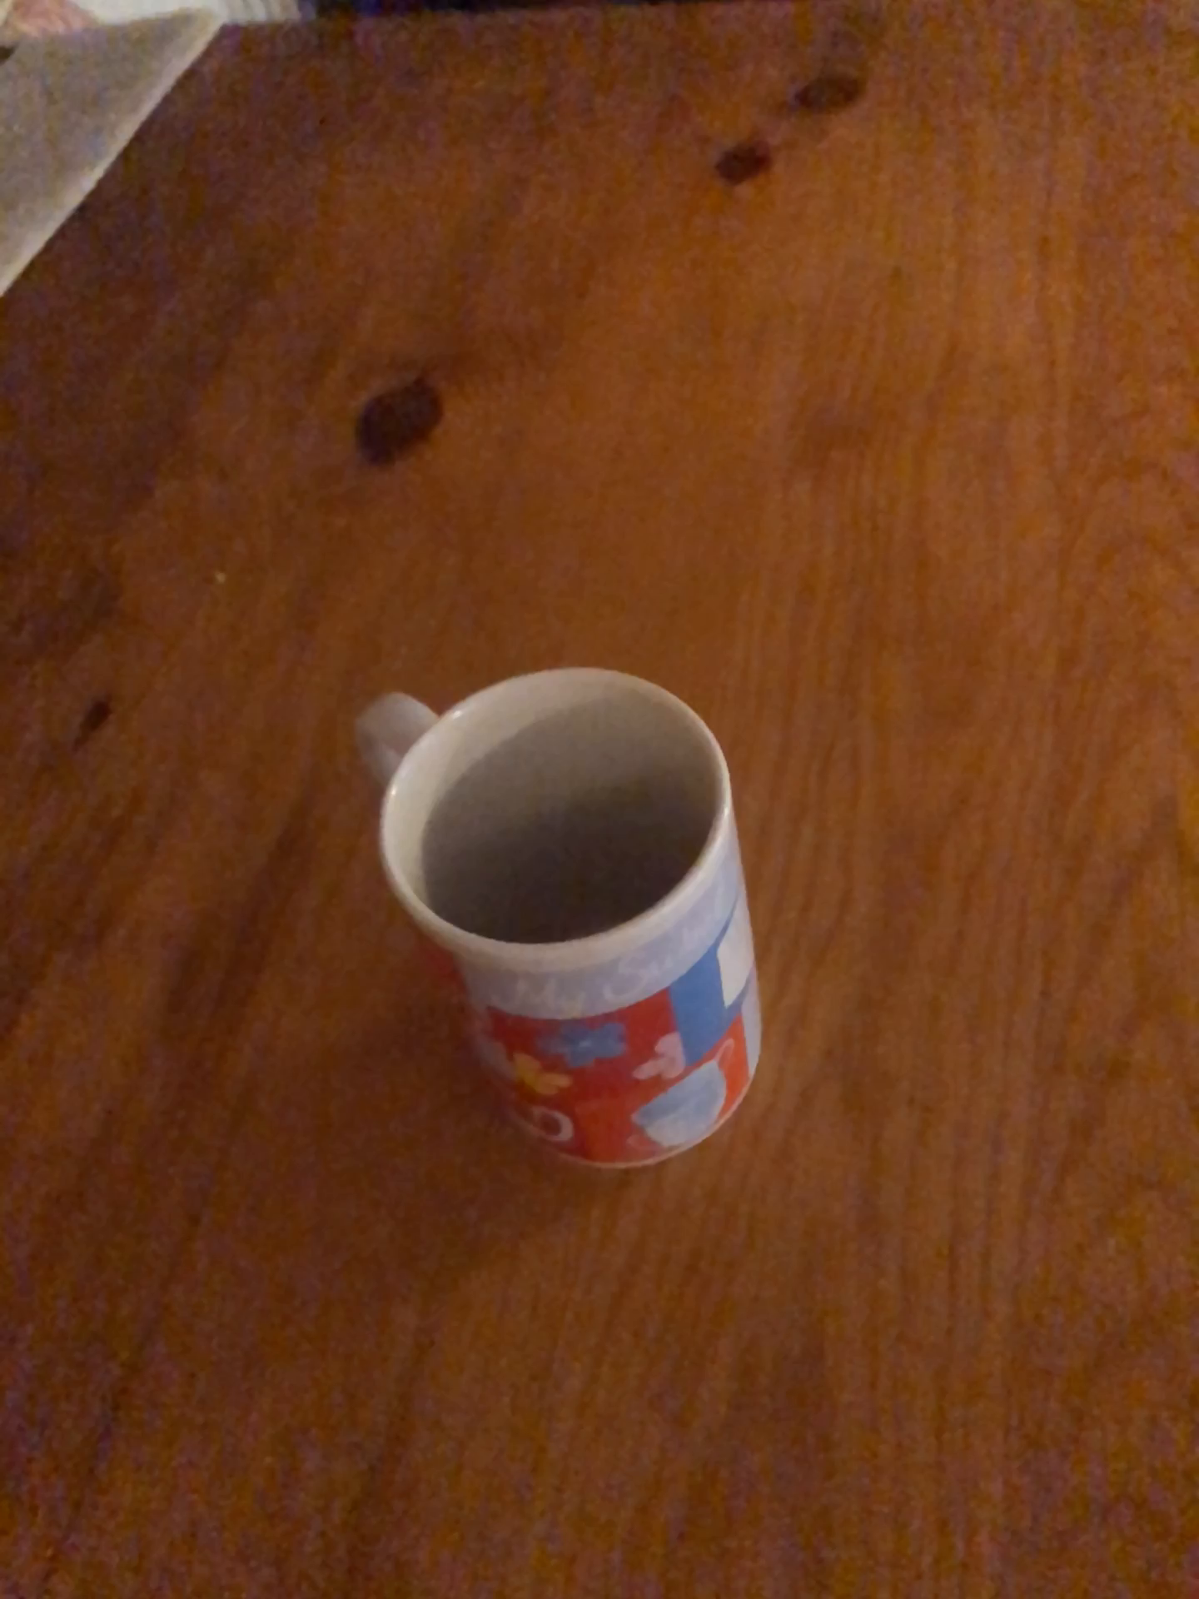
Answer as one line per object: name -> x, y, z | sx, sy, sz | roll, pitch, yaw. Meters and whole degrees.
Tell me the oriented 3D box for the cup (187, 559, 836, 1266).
cup -> -0.014, 0.025, 0.311 | 0.112, 0.099, 0.080 | 33, 63, 30
